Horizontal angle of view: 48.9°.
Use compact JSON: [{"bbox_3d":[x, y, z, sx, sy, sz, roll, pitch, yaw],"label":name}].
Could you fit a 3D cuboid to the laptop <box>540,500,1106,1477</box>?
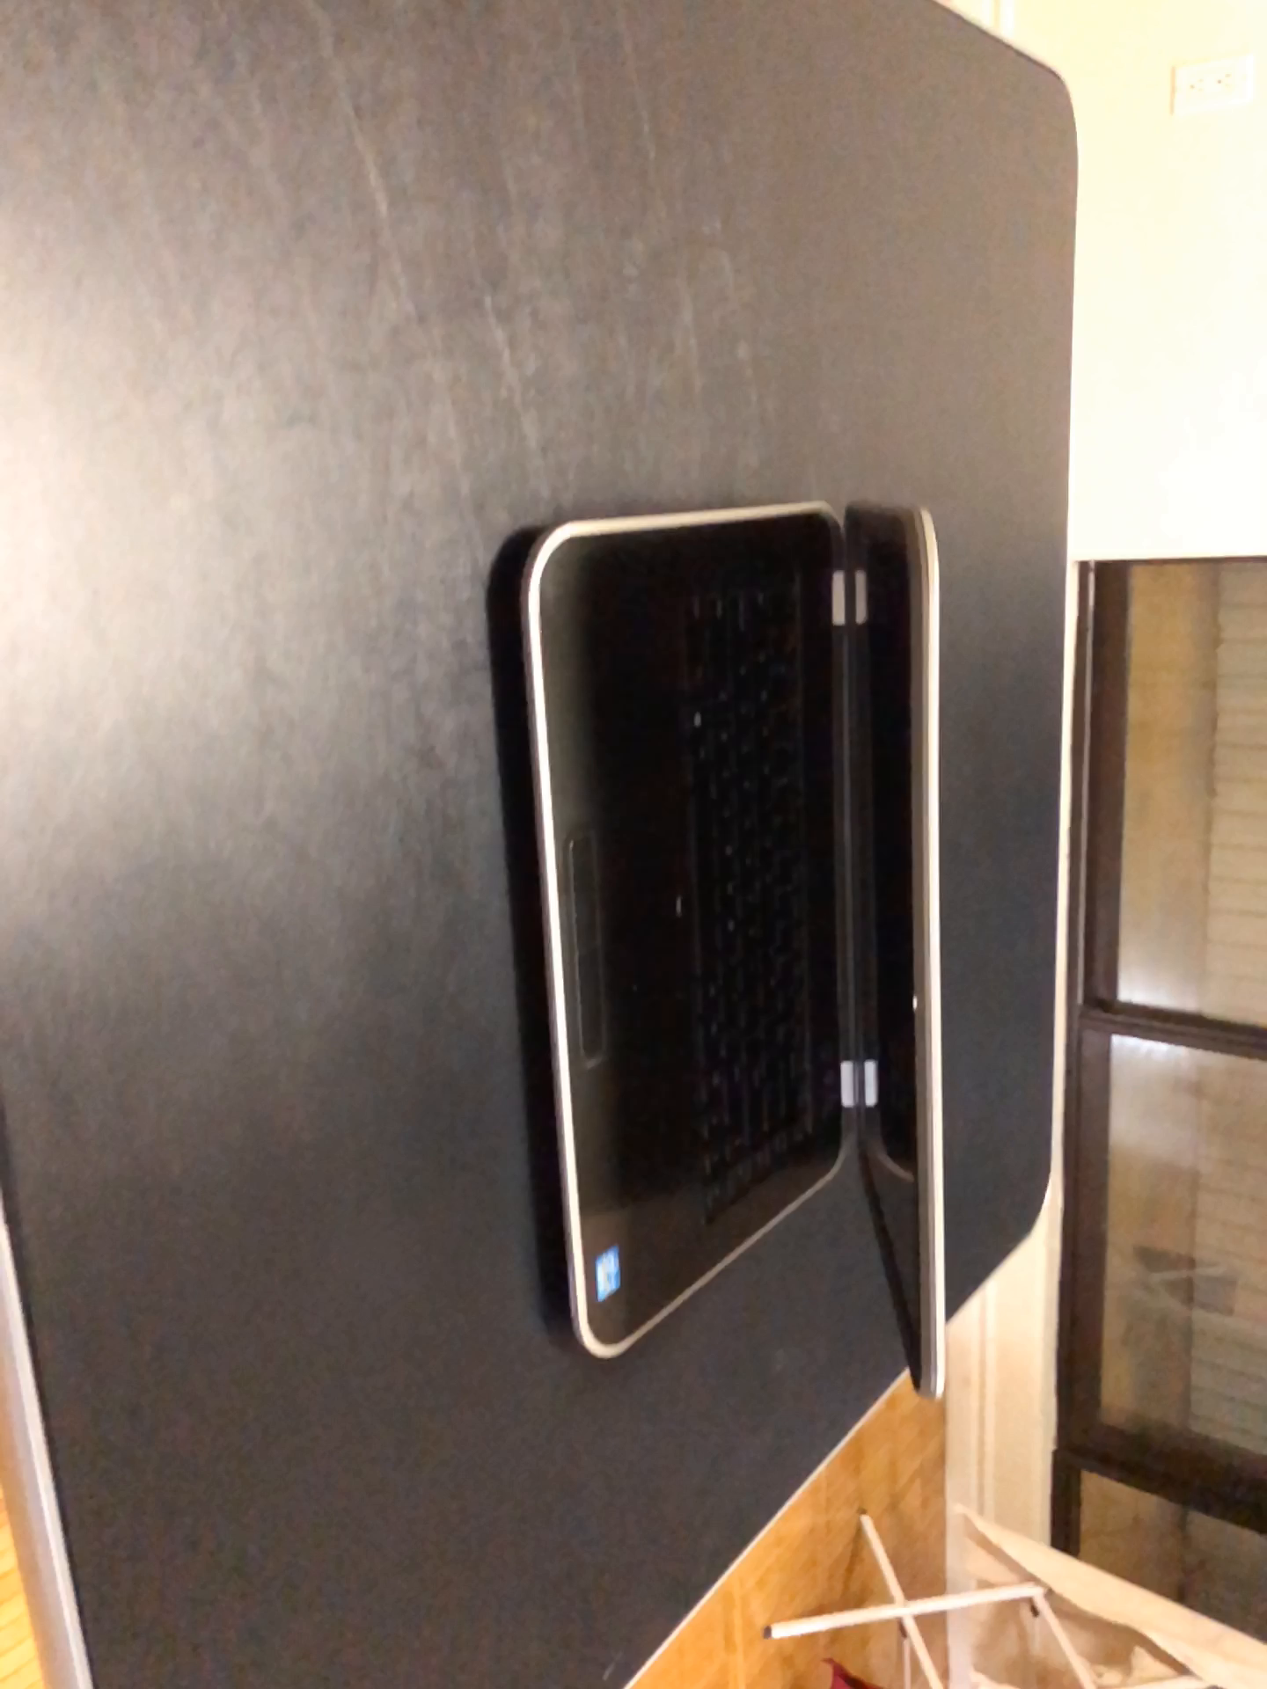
[{"bbox_3d":[0.101,0.039,0.631,0.241,0.137,0.356,-23,114,-50],"label":"laptop"}]
